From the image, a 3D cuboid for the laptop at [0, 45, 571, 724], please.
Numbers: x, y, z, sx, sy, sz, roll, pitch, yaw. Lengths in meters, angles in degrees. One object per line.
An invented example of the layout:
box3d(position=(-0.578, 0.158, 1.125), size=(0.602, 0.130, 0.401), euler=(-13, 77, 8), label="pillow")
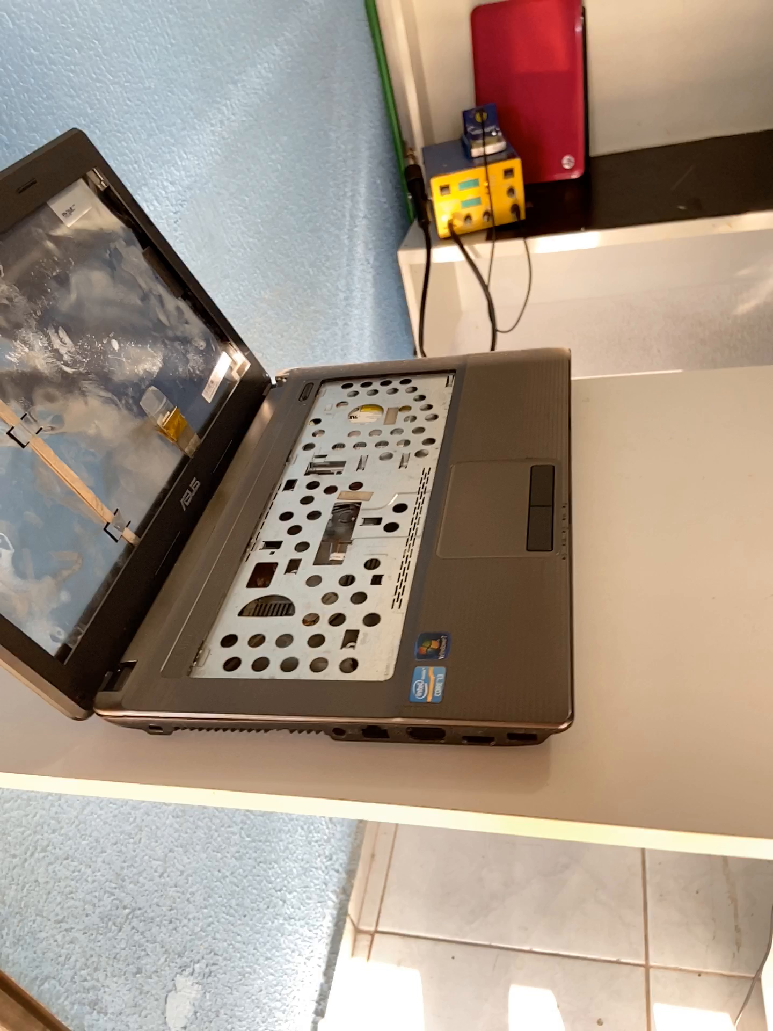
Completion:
box3d(position=(-0.071, -0.089, 0.451), size=(0.327, 0.202, 0.338), euler=(-2, 39, 15), label="laptop")
